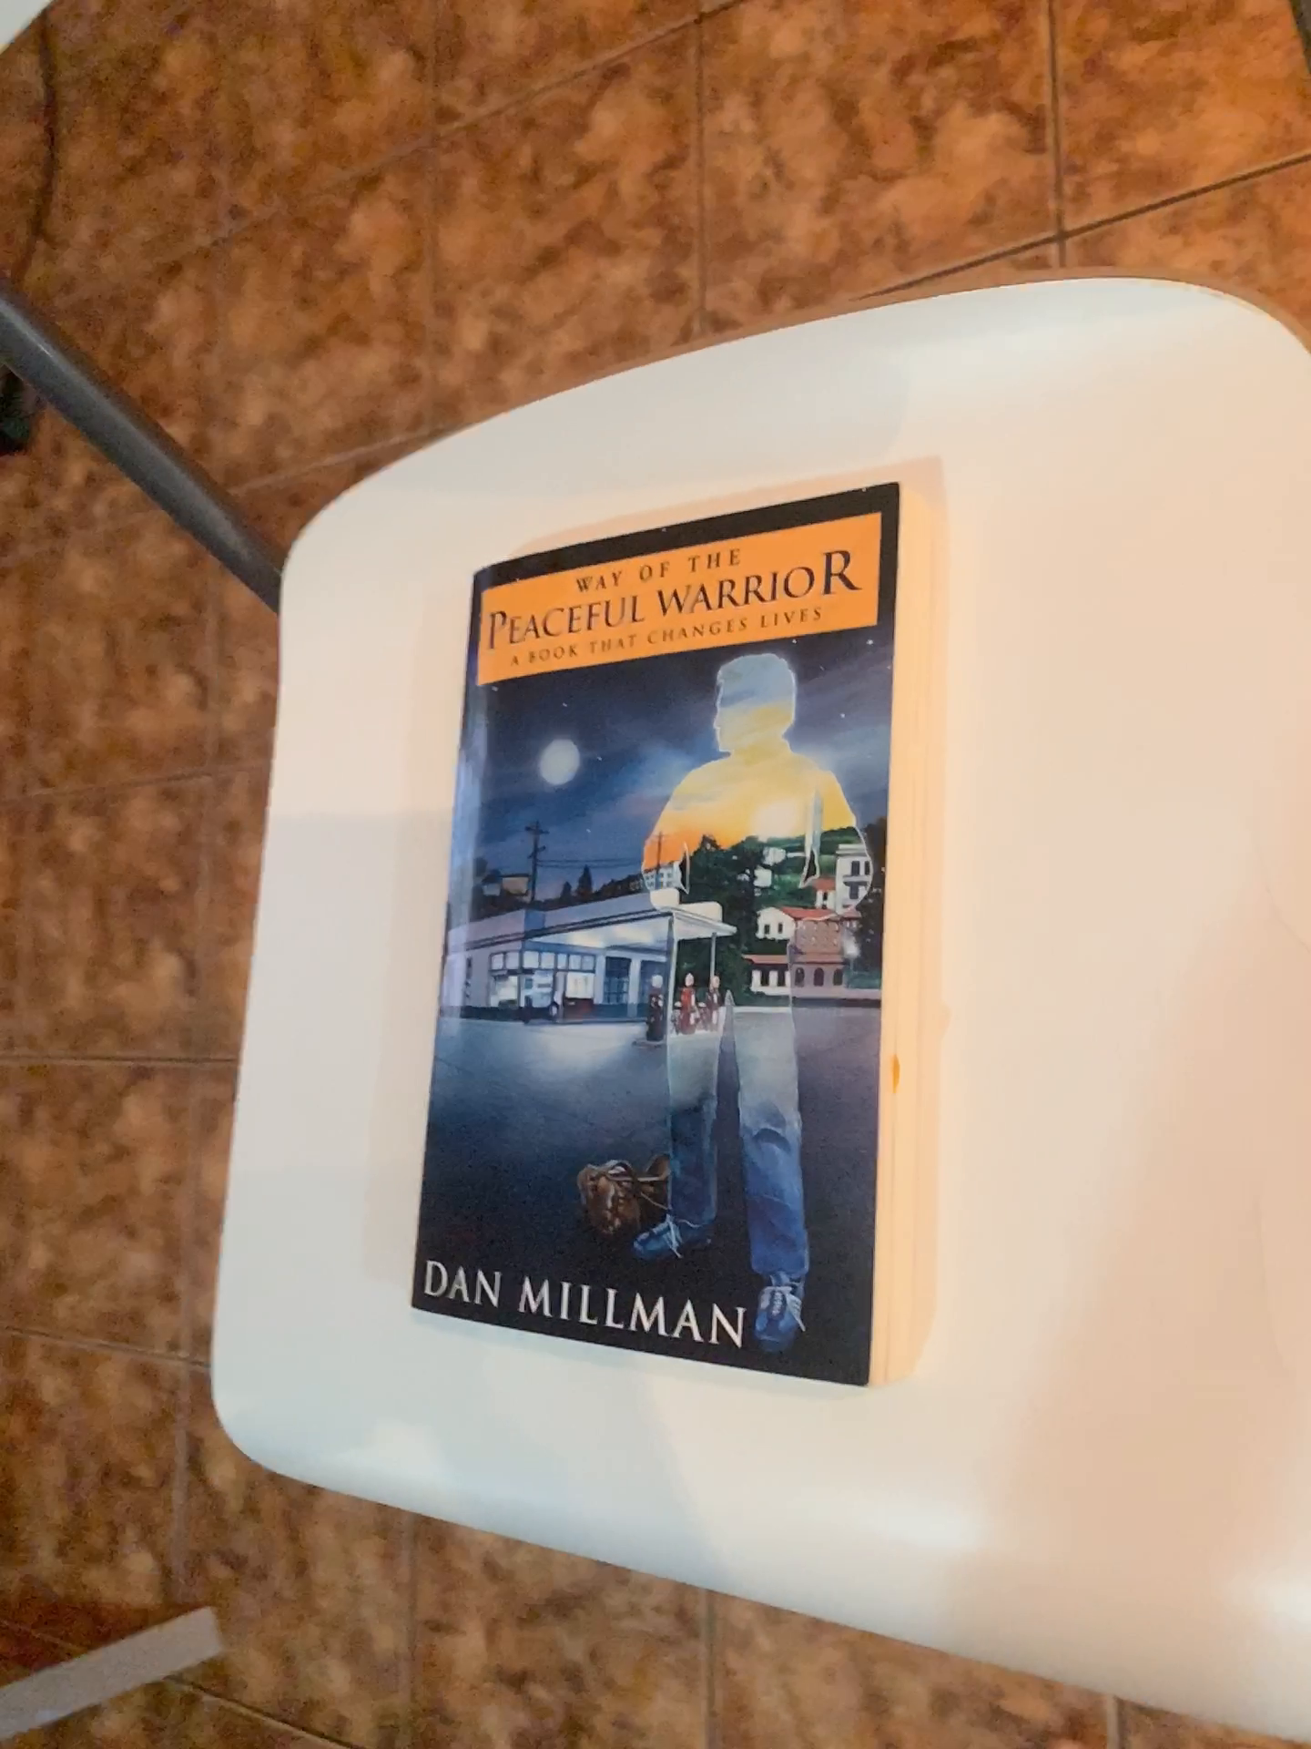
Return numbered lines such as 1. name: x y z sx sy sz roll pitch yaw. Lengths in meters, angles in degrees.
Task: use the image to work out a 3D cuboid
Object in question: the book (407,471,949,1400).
1. book: 0.004 0.014 0.360 0.141 0.039 0.210 -2 83 34
